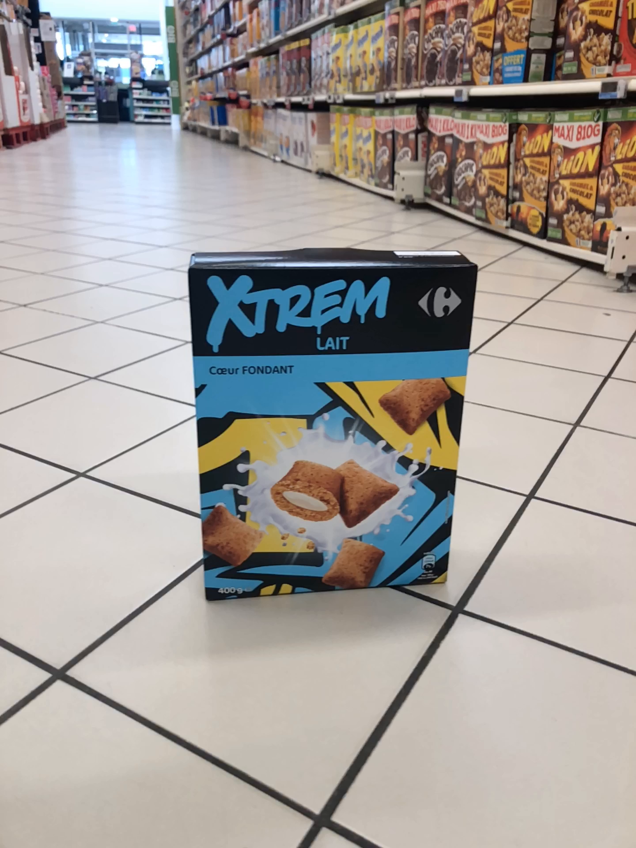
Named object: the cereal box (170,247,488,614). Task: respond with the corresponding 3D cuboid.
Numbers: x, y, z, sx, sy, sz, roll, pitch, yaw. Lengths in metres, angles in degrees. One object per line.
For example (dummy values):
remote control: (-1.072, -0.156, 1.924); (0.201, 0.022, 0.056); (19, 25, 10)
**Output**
cereal box: (0.004, 0.007, 0.514); (0.200, 0.259, 0.060); (-2, 23, -7)
